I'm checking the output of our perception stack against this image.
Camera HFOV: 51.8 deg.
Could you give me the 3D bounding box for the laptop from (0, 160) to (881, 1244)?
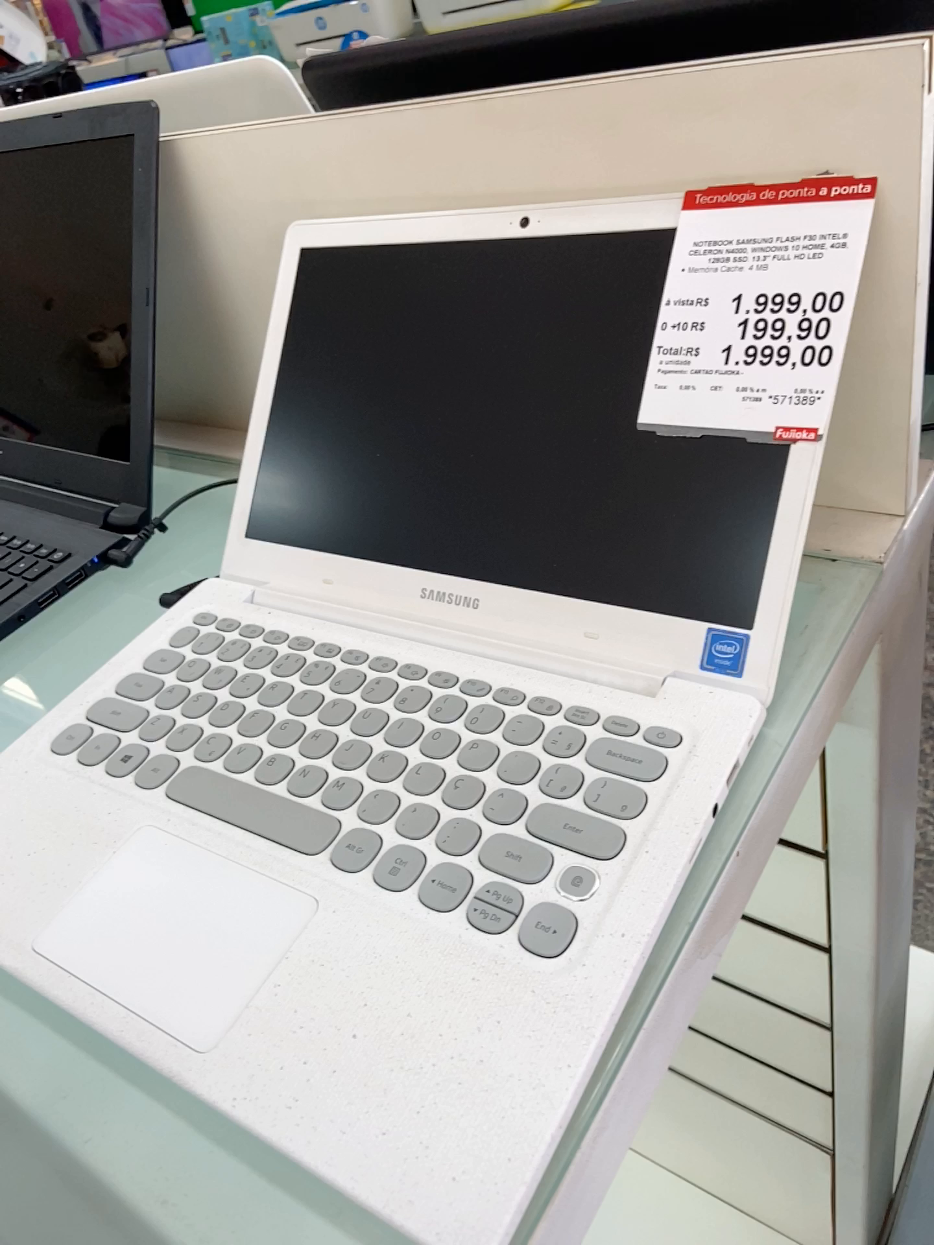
[{"bbox_3d":[-0.048,-0.033,0.388,0.314,0.140,0.361,12,46,33],"label":"laptop"}]
